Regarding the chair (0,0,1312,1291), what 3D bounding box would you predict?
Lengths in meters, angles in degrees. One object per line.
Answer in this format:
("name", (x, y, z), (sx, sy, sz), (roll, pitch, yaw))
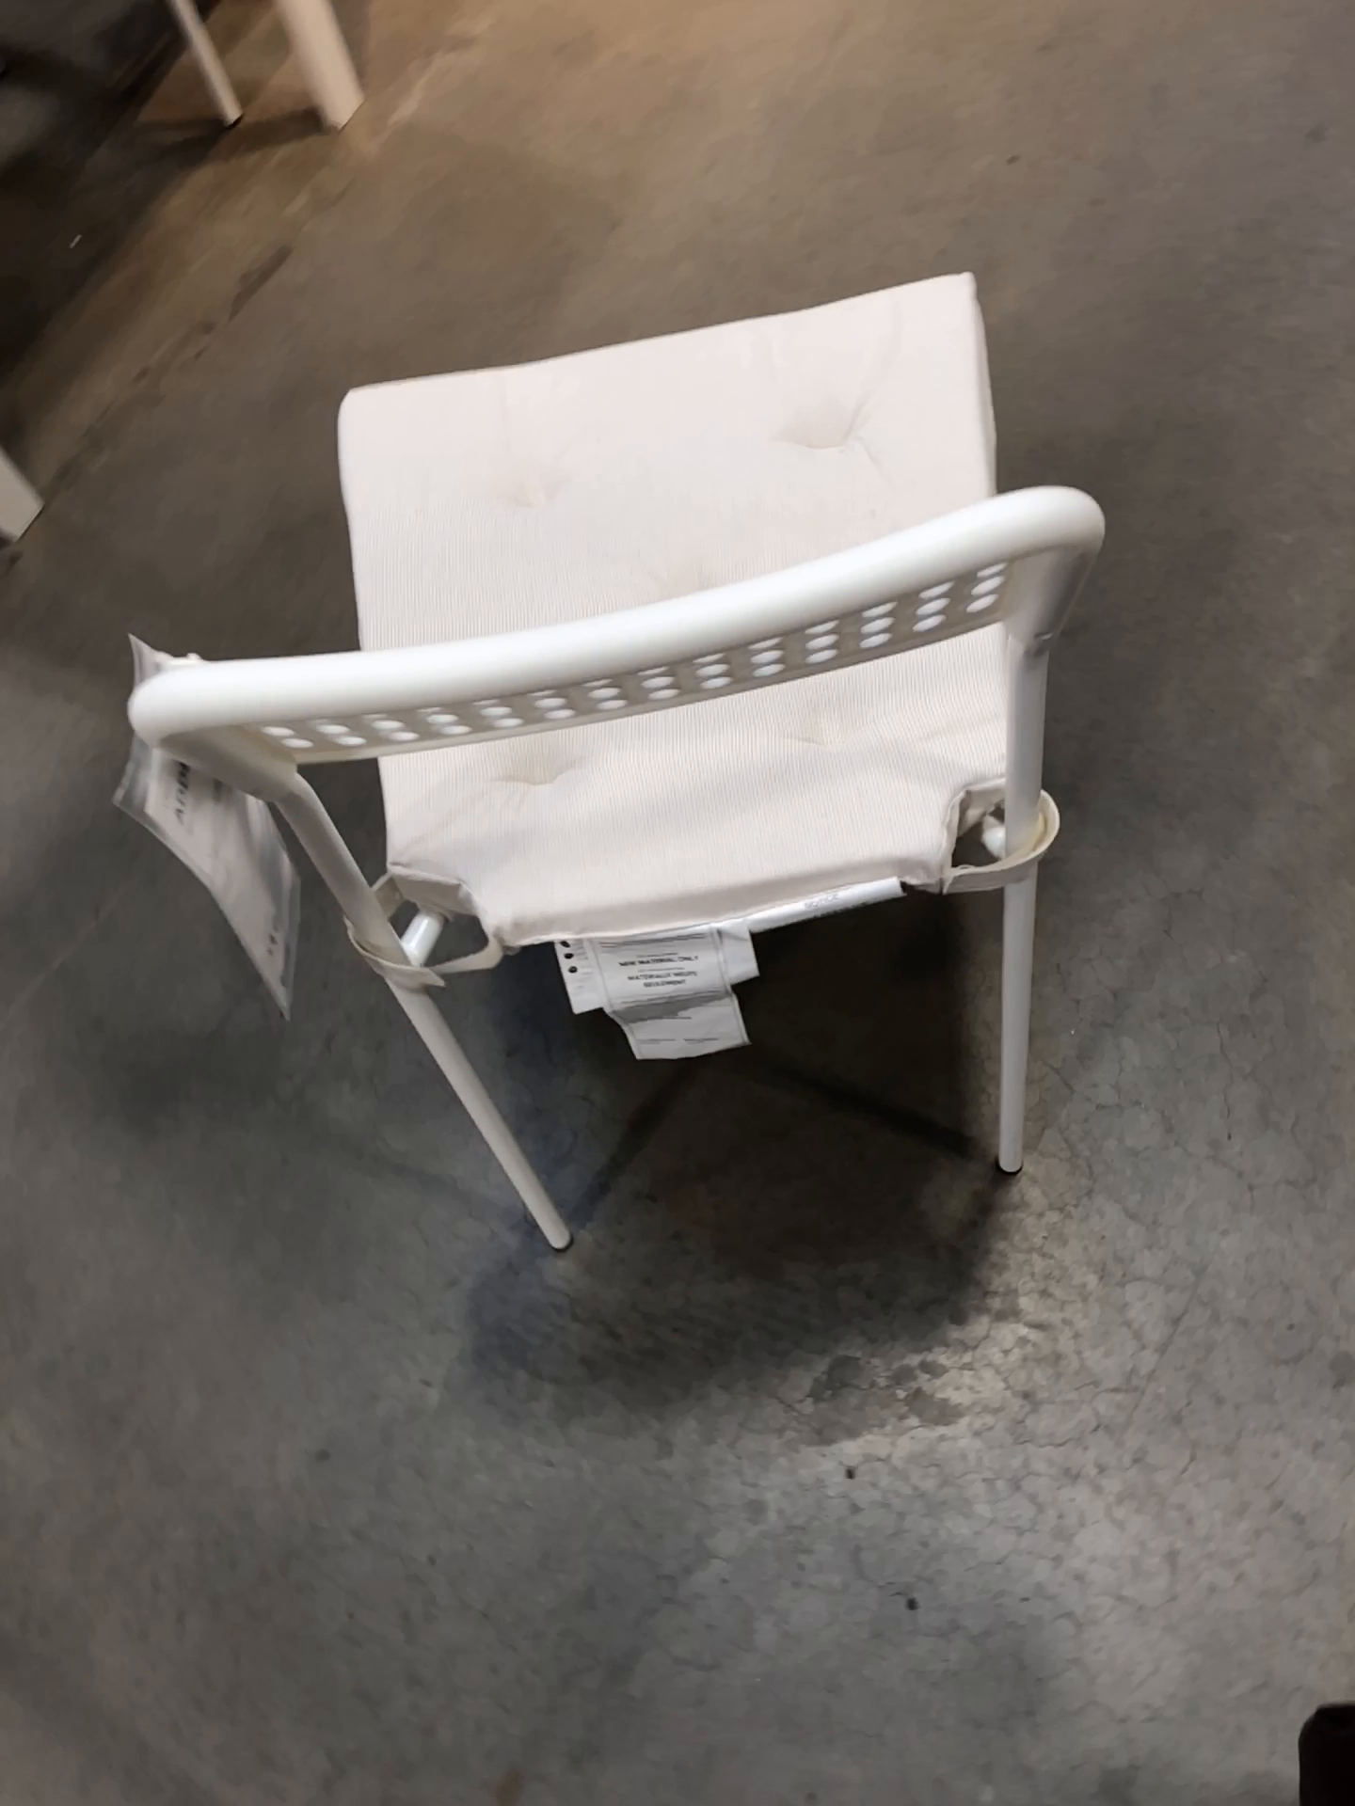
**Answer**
("chair", (-0.021, -0.146, 0.929), (0.480, 0.739, 0.531), (-12, 62, 4))
